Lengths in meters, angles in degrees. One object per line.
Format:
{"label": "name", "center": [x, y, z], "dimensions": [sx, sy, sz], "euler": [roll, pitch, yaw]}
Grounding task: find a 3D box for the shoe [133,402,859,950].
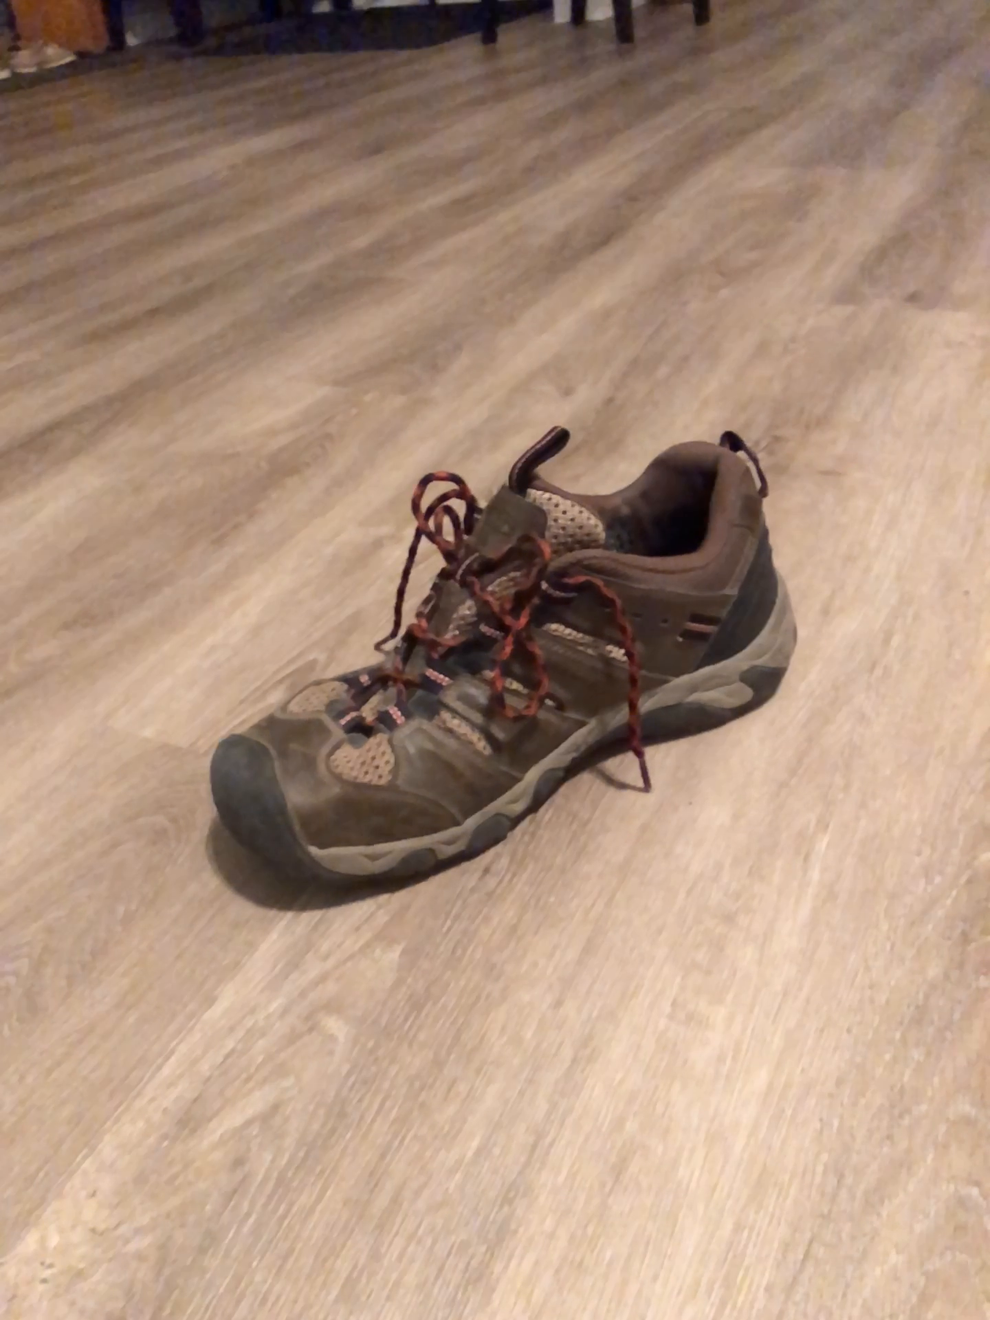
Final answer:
{"label": "shoe", "center": [0.009, -0.010, 0.462], "dimensions": [0.270, 0.099, 0.110], "euler": [-23, 38, -23]}
